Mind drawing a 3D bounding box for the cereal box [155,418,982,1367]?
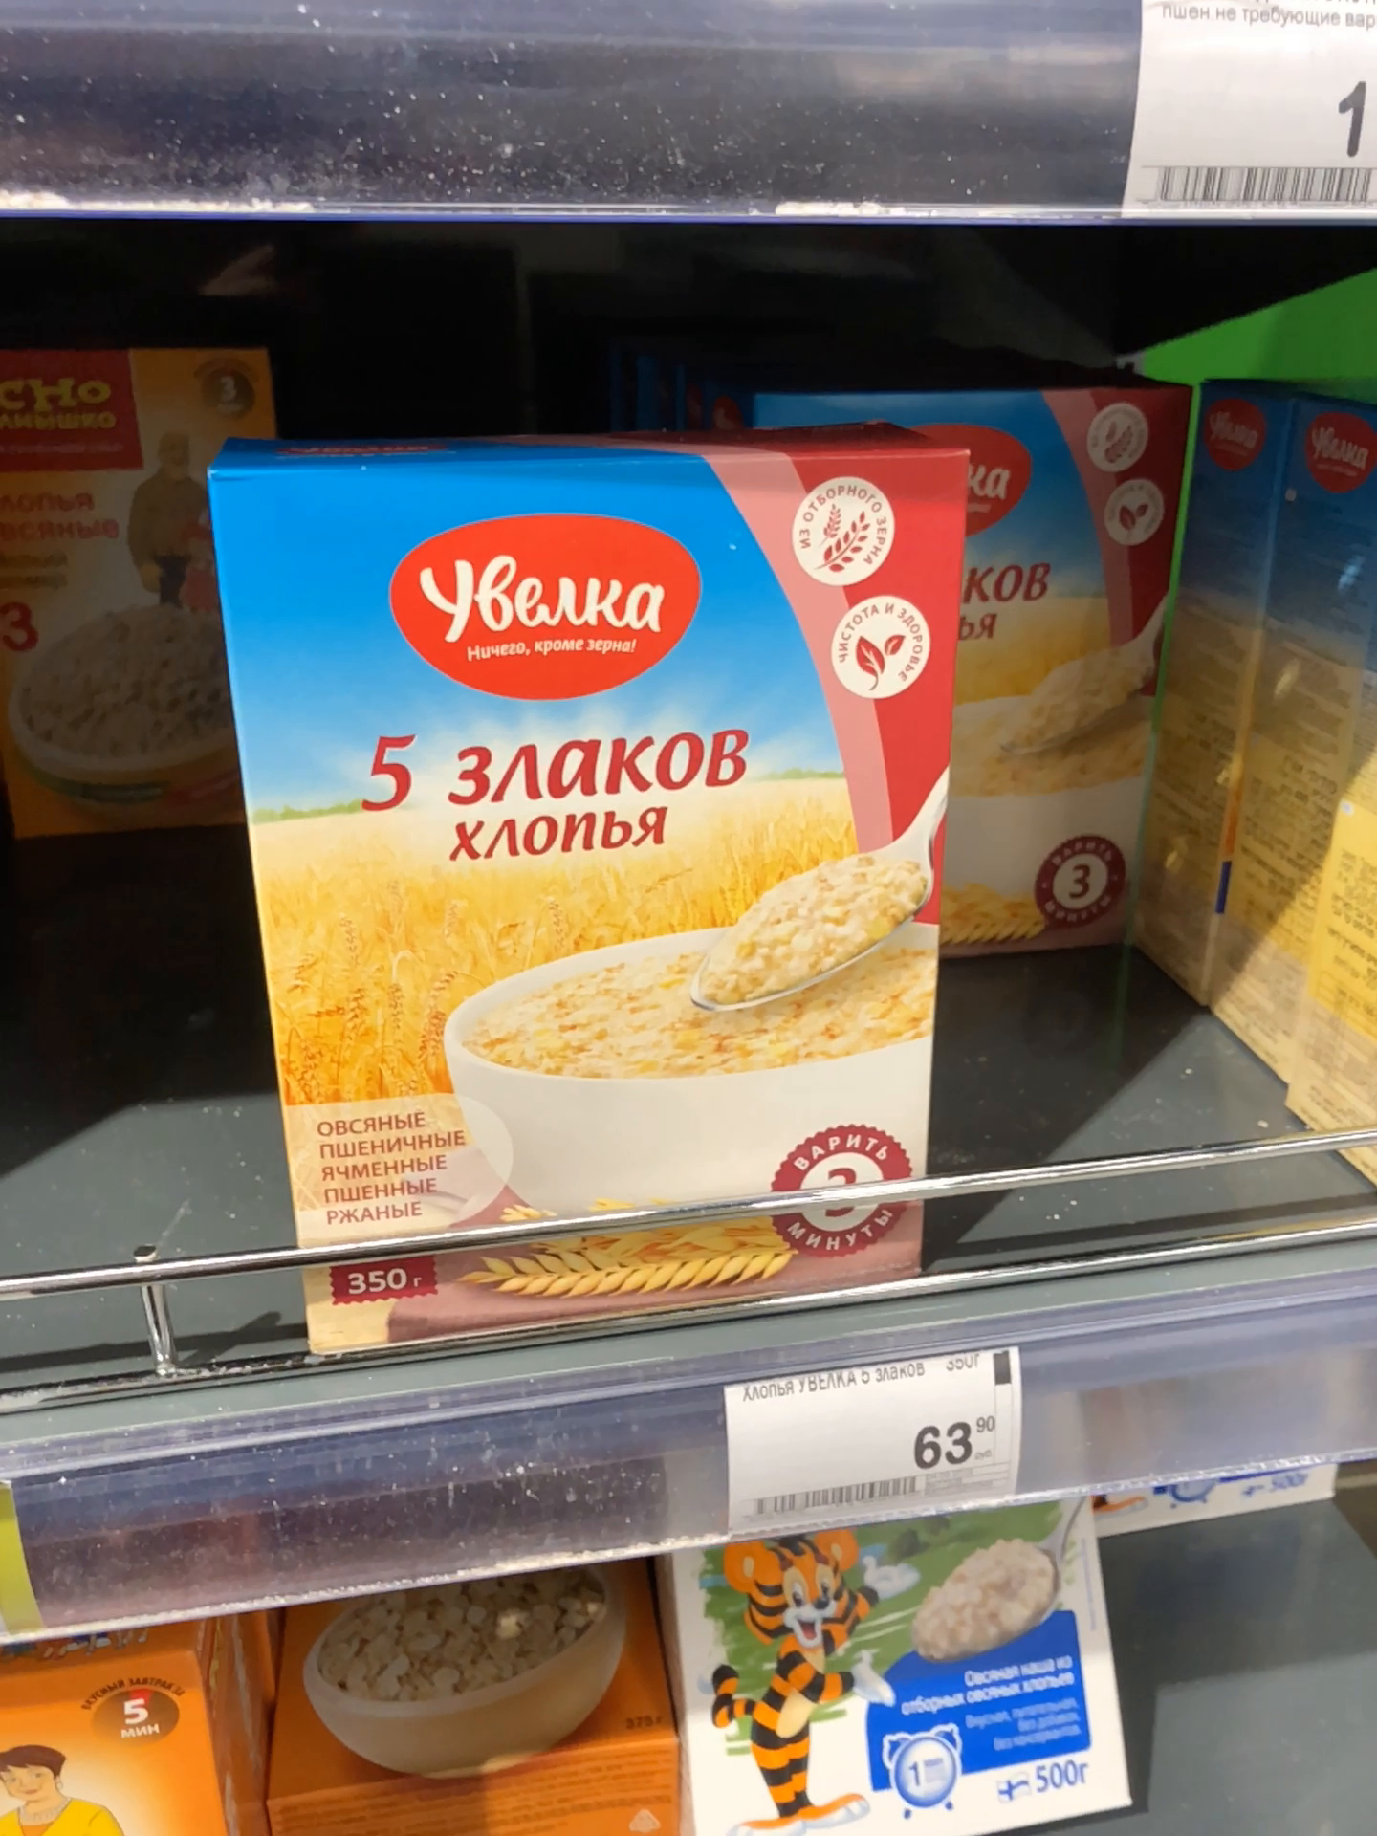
[{"bbox_3d":[-0.023,-0.007,0.332,0.150,0.189,0.050,-5,22,-11],"label":"cereal box"}]
